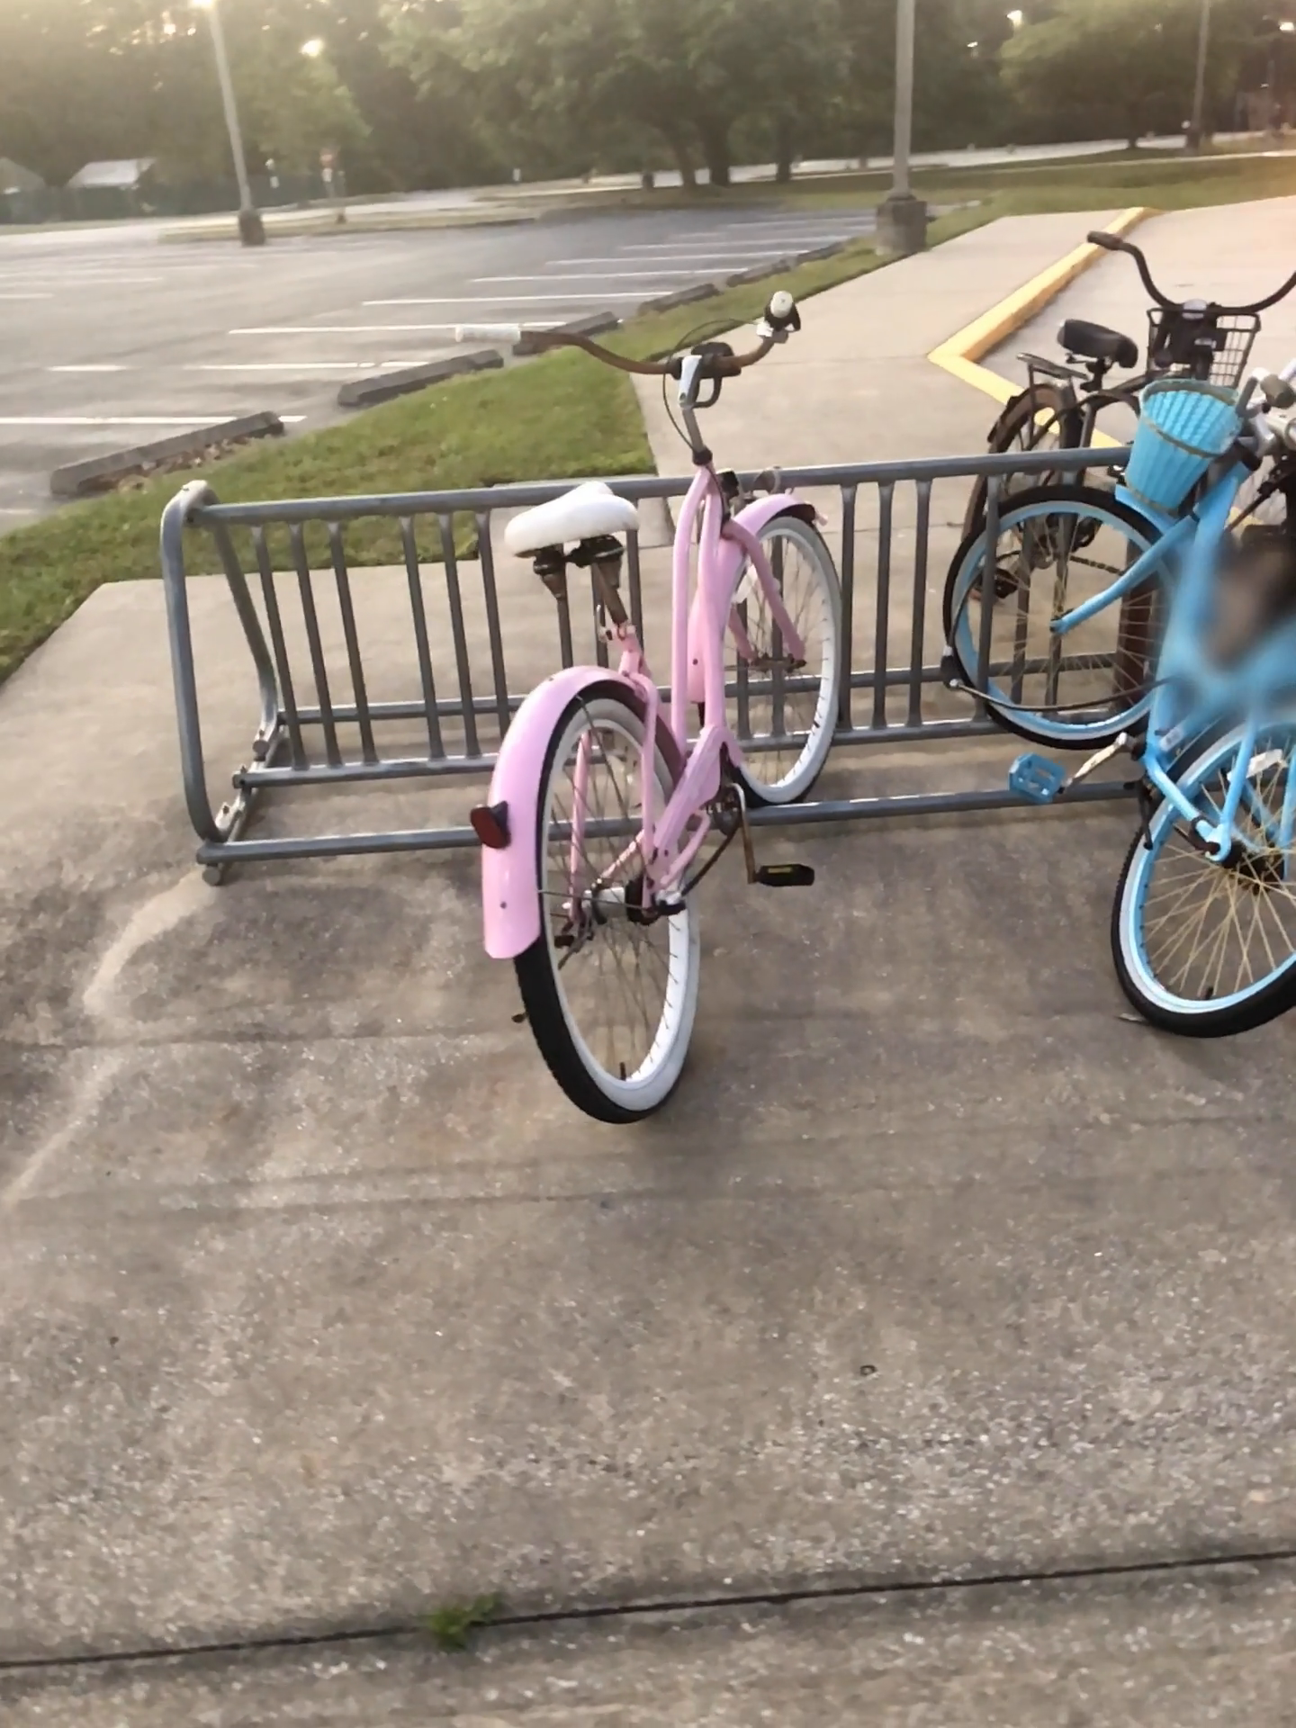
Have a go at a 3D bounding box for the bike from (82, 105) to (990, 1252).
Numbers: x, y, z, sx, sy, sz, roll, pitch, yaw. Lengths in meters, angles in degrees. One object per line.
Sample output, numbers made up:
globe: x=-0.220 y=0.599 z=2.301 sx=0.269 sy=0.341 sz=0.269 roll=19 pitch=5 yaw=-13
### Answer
bike: x=0.025 y=-0.492 z=2.419 sx=0.838 sy=1.116 sz=1.661 roll=5 pitch=34 yaw=18
